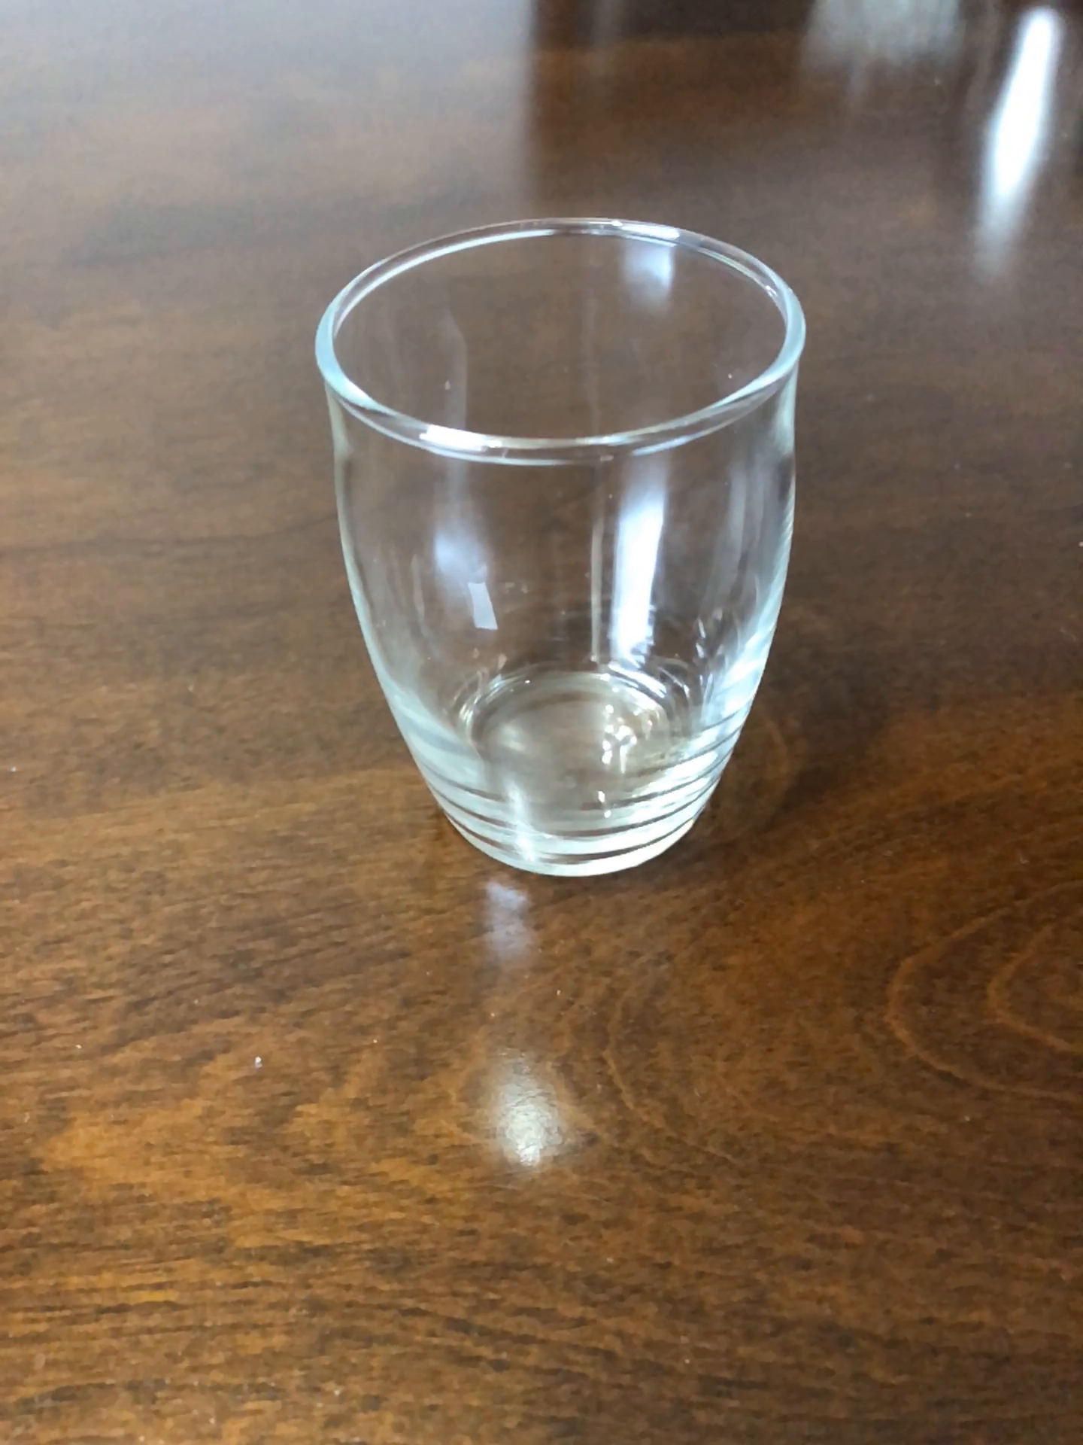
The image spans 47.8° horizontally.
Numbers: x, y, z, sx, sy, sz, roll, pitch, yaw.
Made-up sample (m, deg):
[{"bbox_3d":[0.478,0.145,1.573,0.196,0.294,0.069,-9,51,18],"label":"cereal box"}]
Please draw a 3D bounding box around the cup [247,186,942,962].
[{"bbox_3d":[0.004,-0.022,0.167,0.060,0.070,0.060,-2,44,1],"label":"cup"}]
